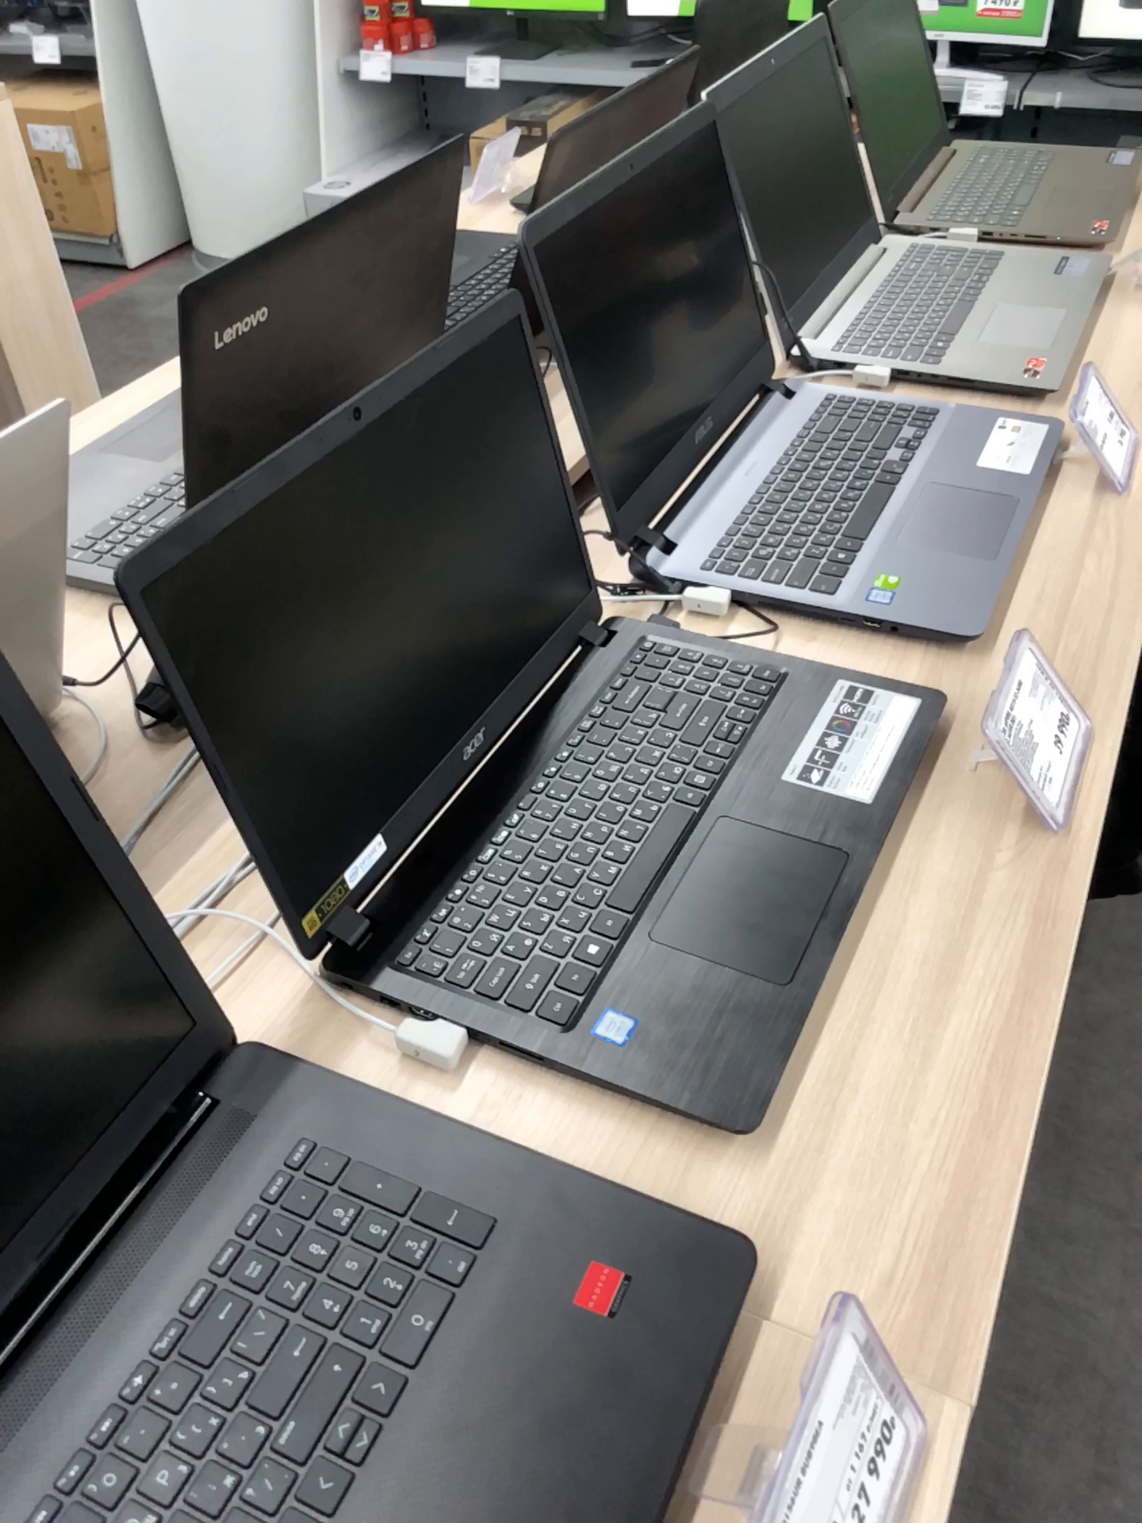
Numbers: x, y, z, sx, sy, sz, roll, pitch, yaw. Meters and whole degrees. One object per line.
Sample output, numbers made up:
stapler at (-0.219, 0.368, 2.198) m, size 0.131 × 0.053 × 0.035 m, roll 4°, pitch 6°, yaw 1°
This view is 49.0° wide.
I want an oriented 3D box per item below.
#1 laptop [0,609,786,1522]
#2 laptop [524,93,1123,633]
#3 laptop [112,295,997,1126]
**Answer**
laptop at (-0.162, 0.168, 0.350) m, size 0.345 × 0.226 × 0.355 m, roll 13°, pitch 40°, yaw 17°
laptop at (0.193, -0.318, 0.937) m, size 0.324 × 0.218 × 0.328 m, roll 17°, pitch 45°, yaw 20°
laptop at (0.021, -0.060, 0.658) m, size 0.291 × 0.219 × 0.347 m, roll 15°, pitch 43°, yaw 21°
